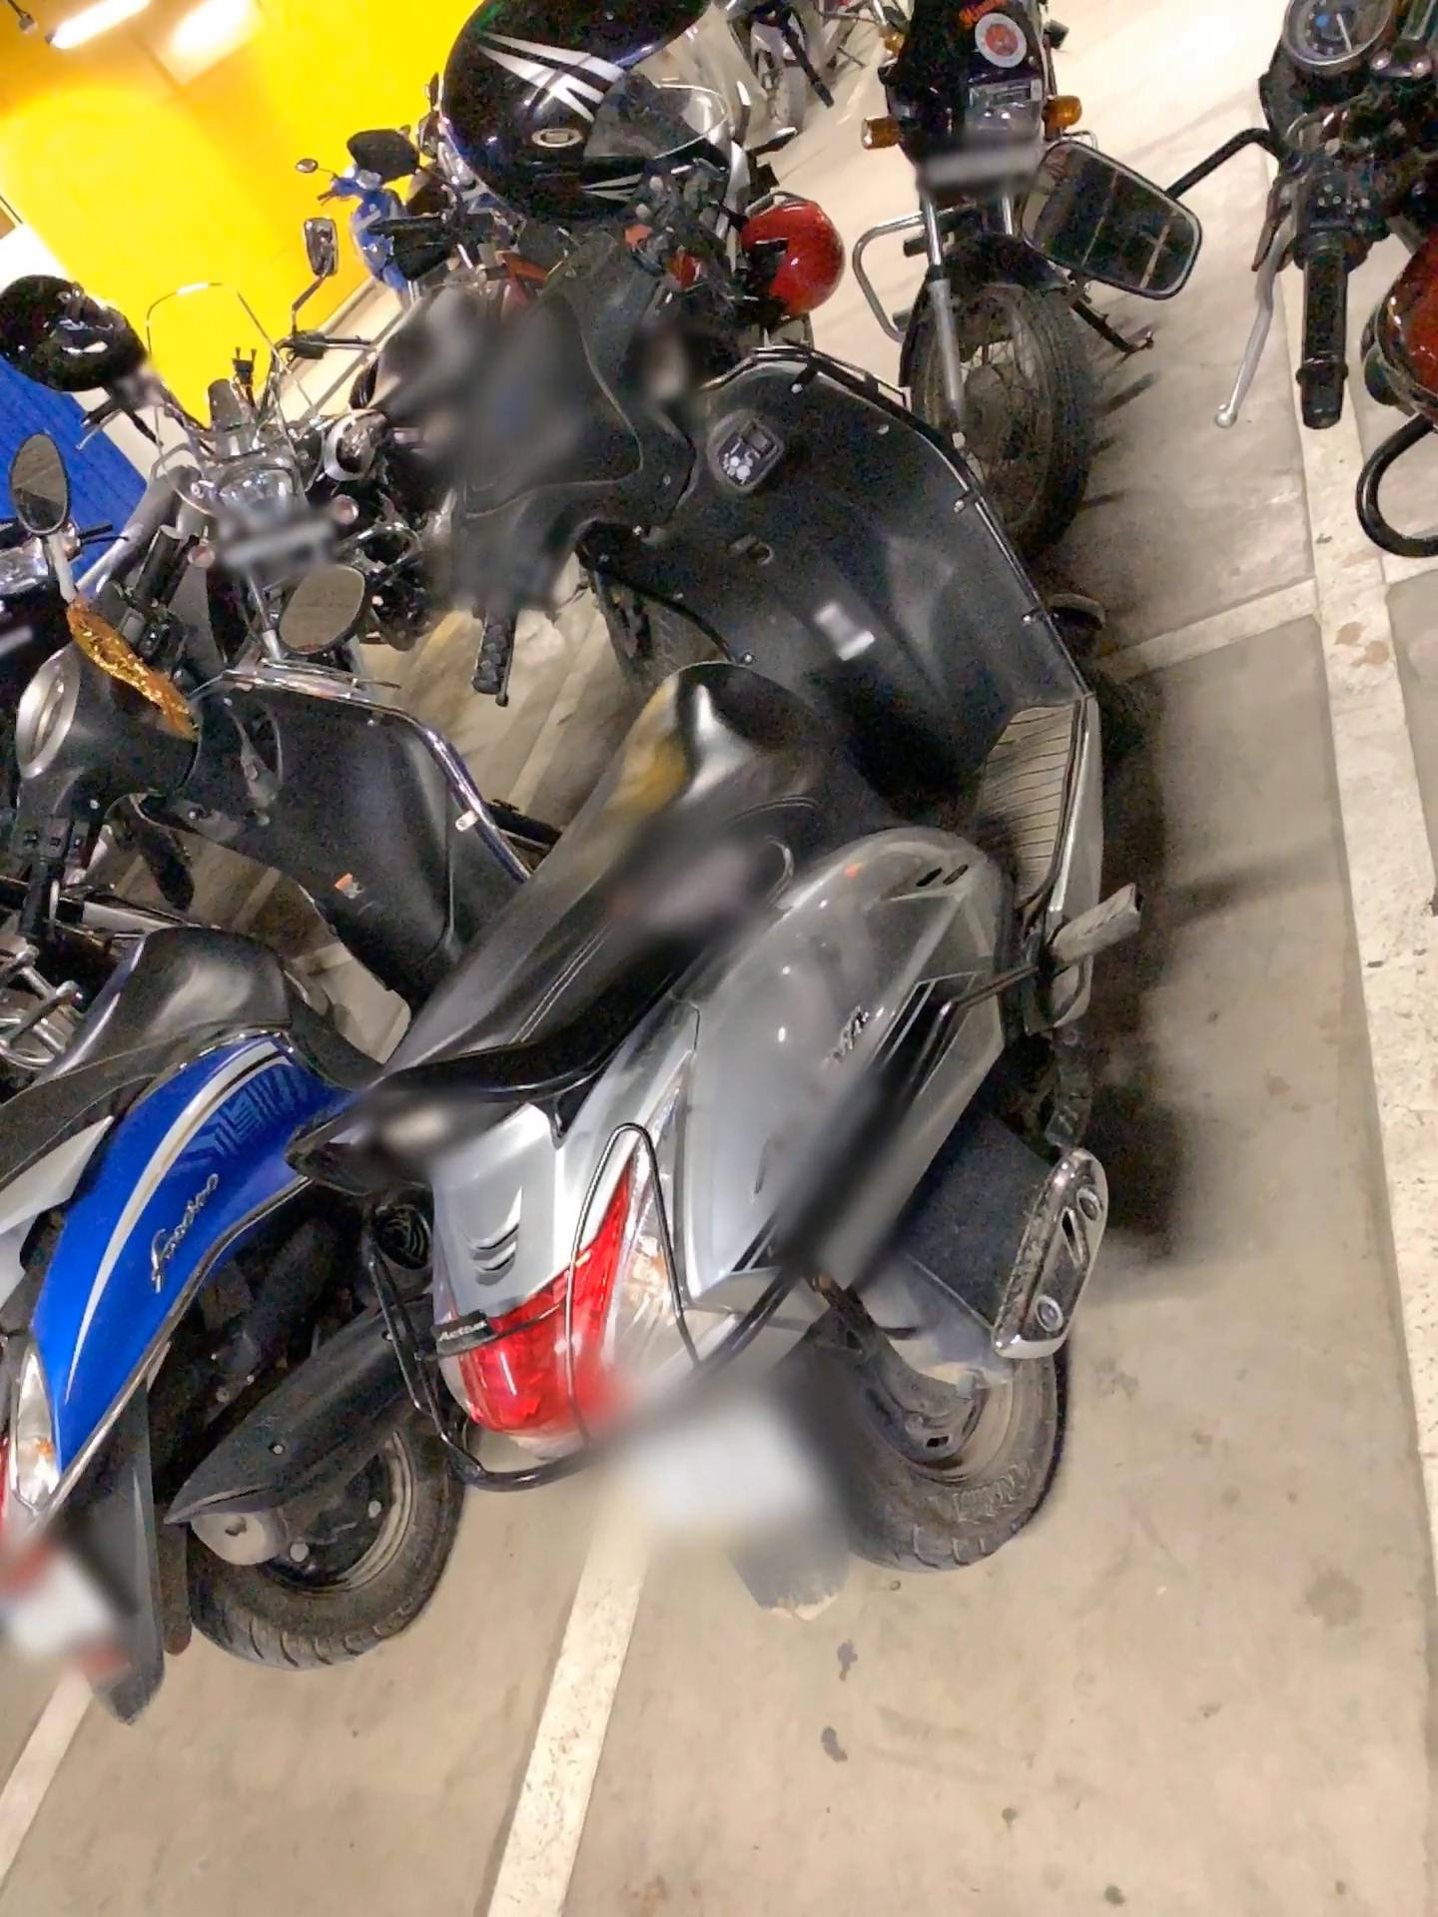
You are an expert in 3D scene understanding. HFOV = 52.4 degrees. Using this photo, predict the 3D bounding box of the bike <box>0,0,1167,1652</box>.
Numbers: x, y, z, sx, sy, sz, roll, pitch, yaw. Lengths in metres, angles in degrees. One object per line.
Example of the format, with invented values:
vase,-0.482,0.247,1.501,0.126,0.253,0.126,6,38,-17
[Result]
bike,-0.029,-0.223,1.759,0.632,1.089,1.538,-19,39,29
